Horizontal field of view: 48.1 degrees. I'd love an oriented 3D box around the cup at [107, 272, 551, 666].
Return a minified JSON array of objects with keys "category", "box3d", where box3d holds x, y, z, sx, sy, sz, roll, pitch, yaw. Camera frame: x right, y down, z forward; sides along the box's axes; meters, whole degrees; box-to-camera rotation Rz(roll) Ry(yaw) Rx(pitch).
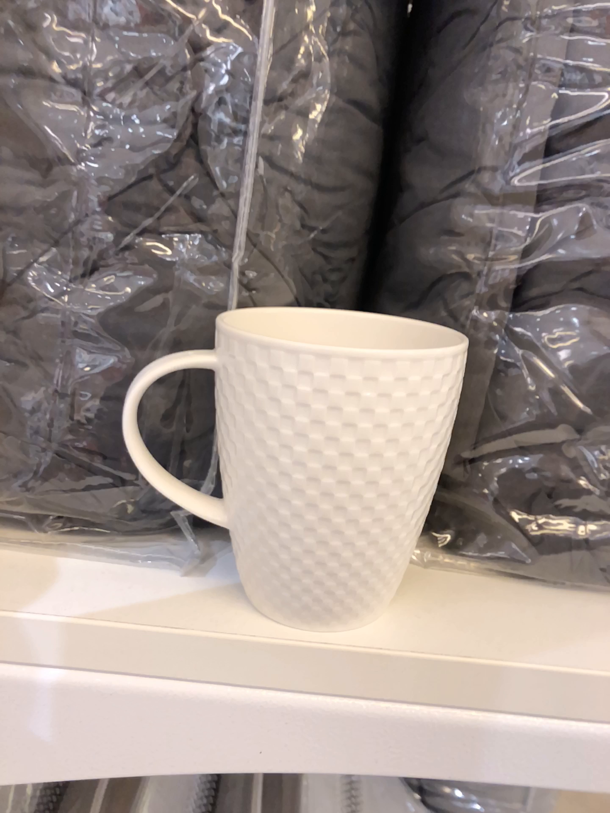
[{"category":"cup","box3d":[-0.003,0.011,0.215,0.110,0.090,0.080,1,16,-18]}]
